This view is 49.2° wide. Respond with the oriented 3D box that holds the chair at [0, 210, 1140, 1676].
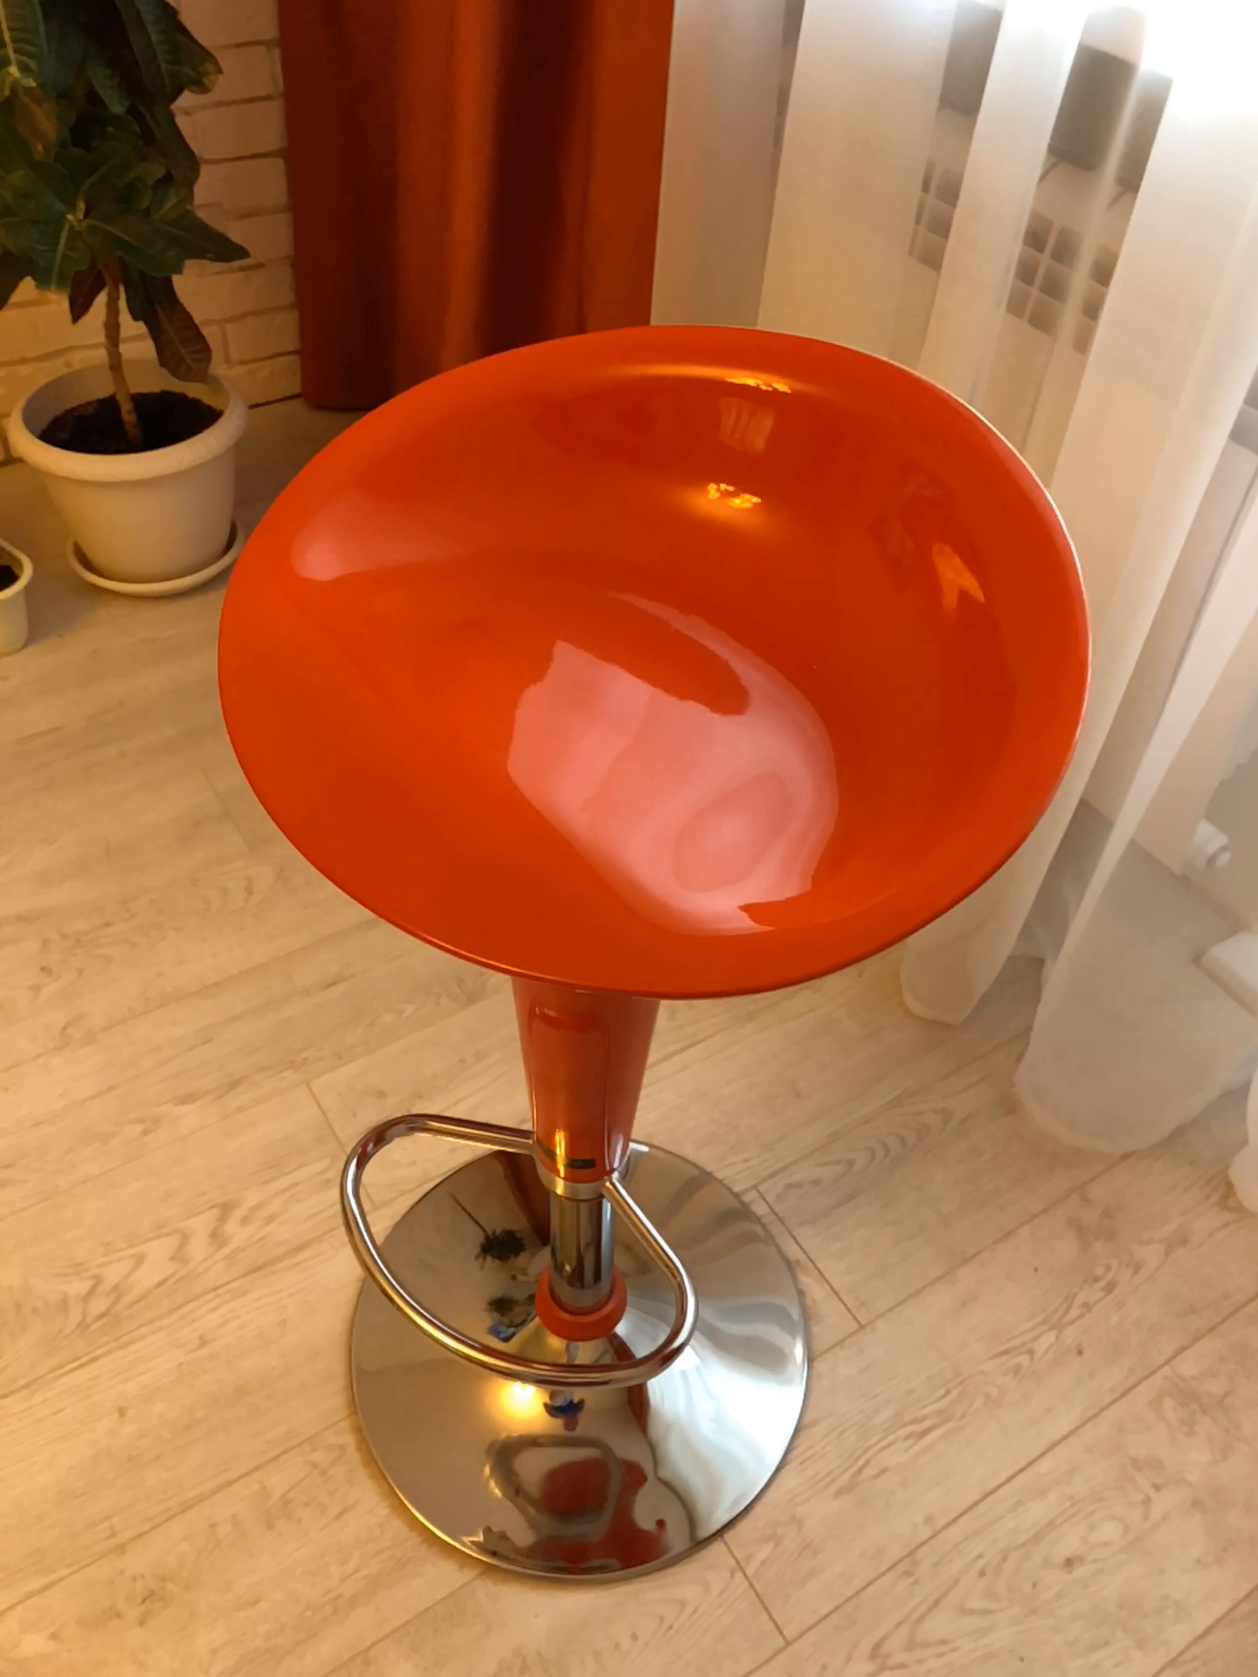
[{"bbox_3d":[-0.042,0.101,0.838,0.410,0.725,0.423,19,46,15],"label":"chair"}]
